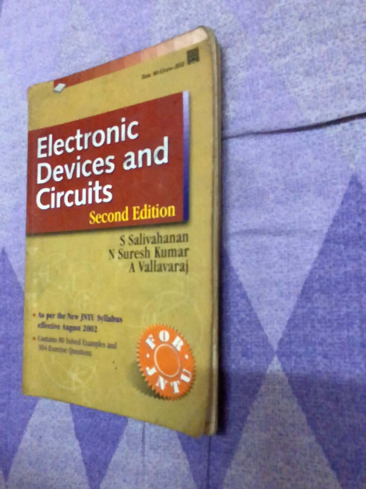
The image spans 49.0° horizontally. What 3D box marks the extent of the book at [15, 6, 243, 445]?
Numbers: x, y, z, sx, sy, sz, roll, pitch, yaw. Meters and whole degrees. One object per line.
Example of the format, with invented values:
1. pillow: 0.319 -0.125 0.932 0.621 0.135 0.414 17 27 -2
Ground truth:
1. book: -0.044 -0.010 0.276 0.160 0.040 0.240 -3 85 30
